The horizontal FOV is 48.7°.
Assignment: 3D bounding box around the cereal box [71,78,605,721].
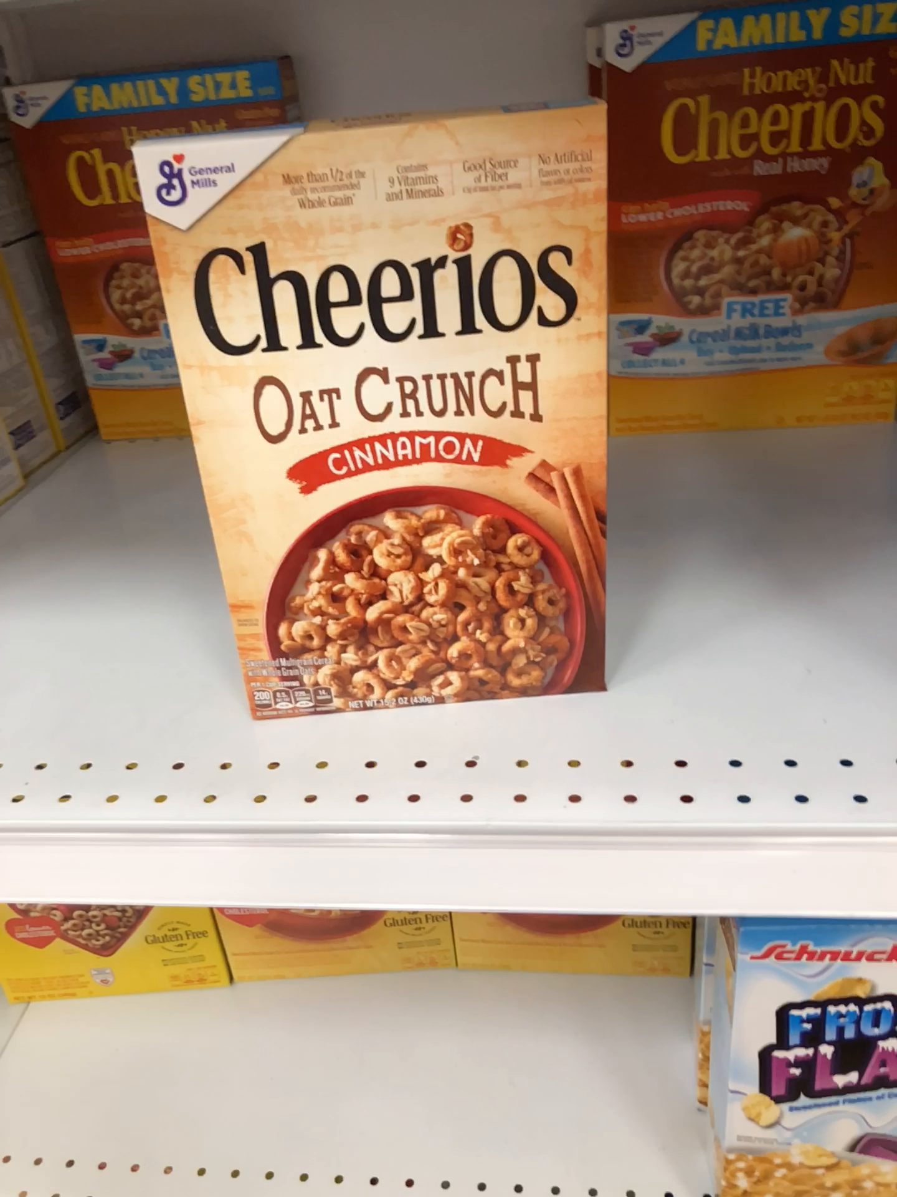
[{"bbox_3d":[-0.032,-0.076,0.468,0.200,0.279,0.050,-5,31,2],"label":"cereal box"}]
